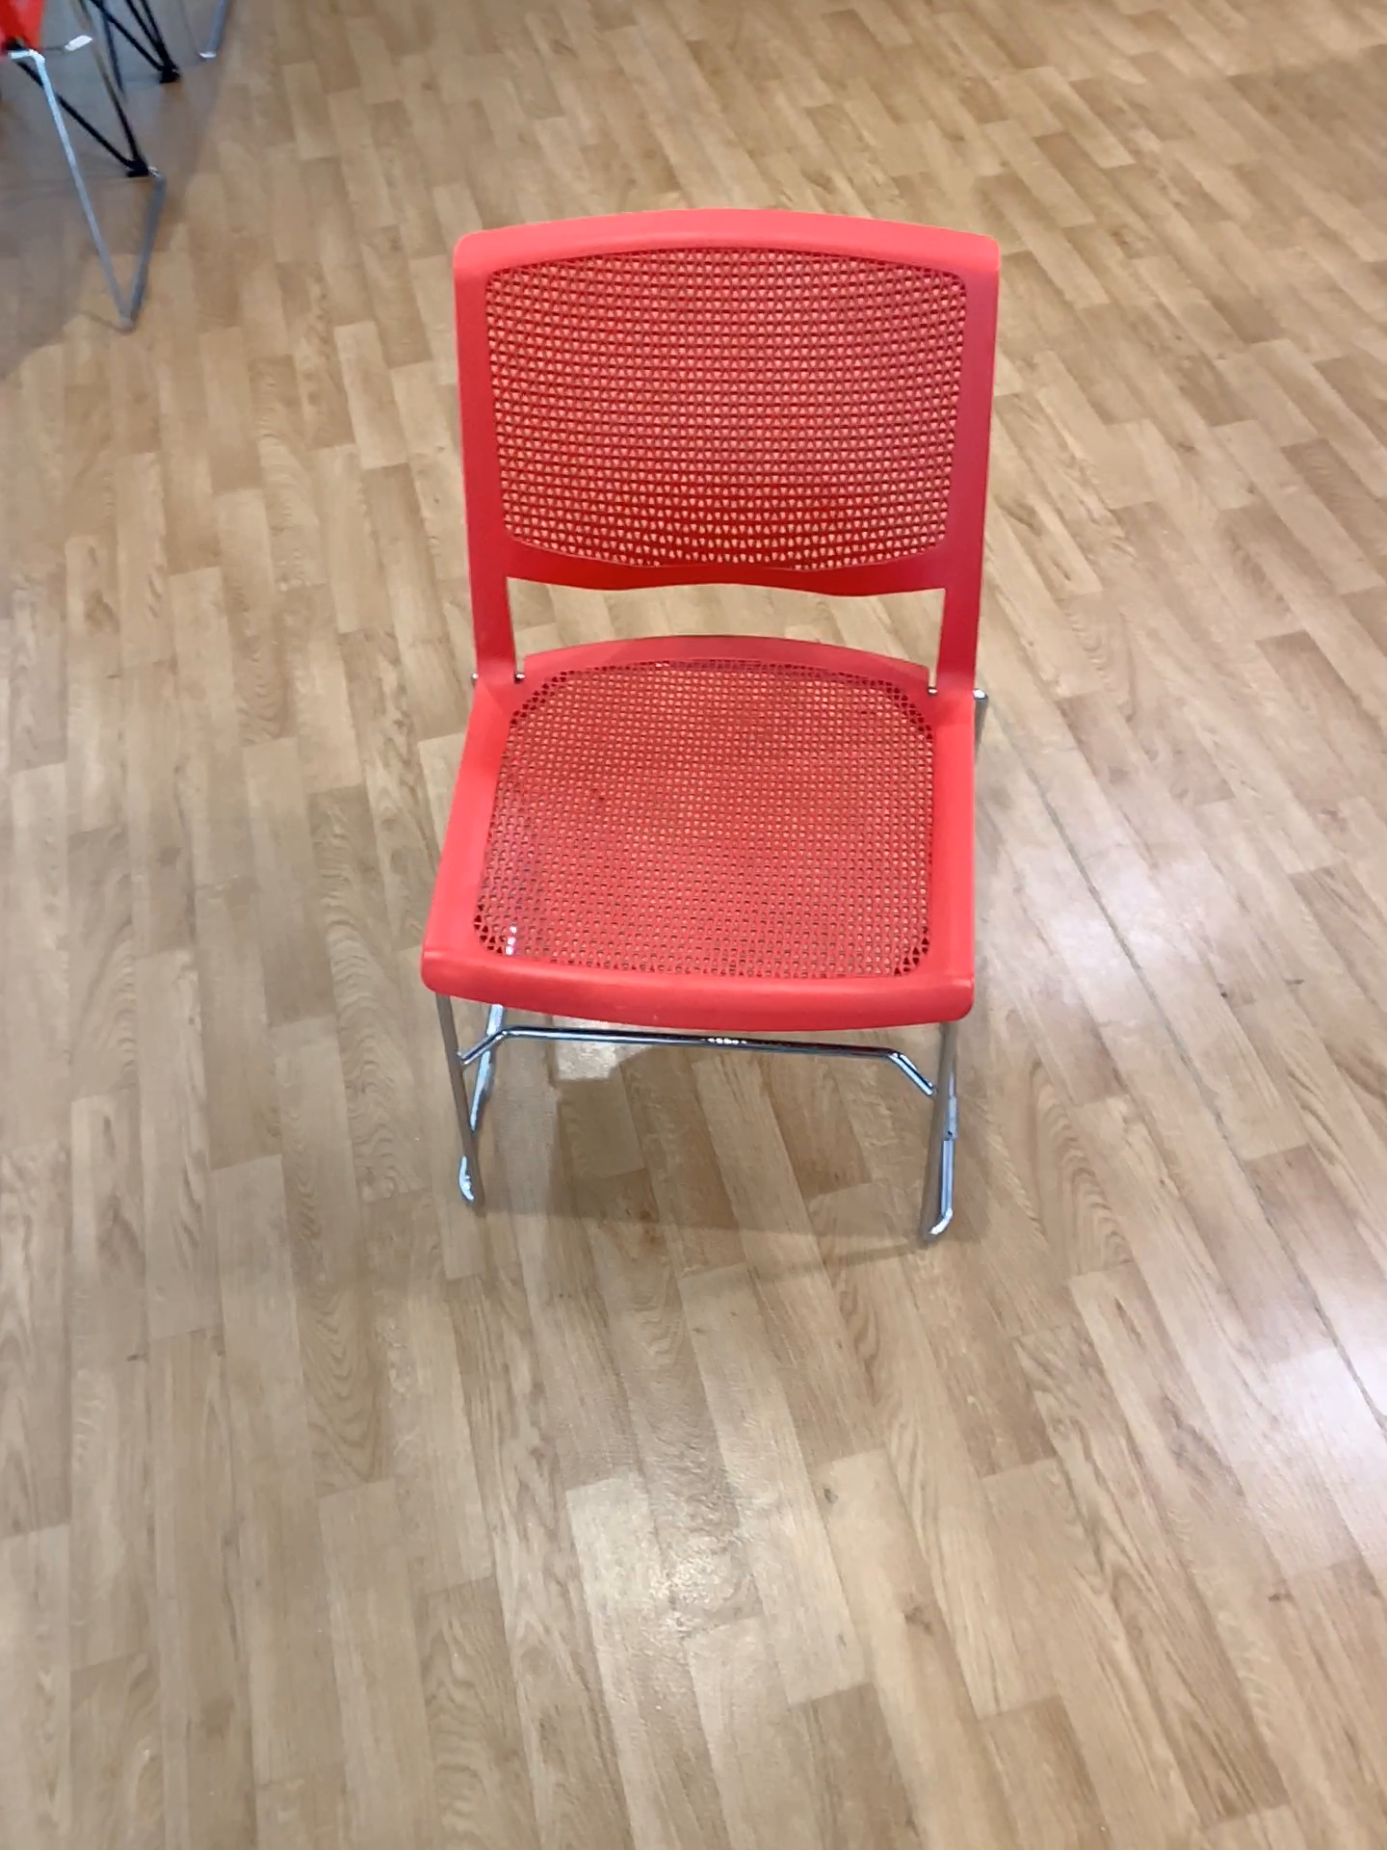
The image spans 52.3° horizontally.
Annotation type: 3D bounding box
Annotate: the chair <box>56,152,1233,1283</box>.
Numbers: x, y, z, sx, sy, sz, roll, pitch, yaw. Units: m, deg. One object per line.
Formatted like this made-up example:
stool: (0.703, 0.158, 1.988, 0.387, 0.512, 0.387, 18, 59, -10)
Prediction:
chair: (-0.001, -0.134, 1.176, 0.600, 0.705, 0.594, 2, 55, 4)
